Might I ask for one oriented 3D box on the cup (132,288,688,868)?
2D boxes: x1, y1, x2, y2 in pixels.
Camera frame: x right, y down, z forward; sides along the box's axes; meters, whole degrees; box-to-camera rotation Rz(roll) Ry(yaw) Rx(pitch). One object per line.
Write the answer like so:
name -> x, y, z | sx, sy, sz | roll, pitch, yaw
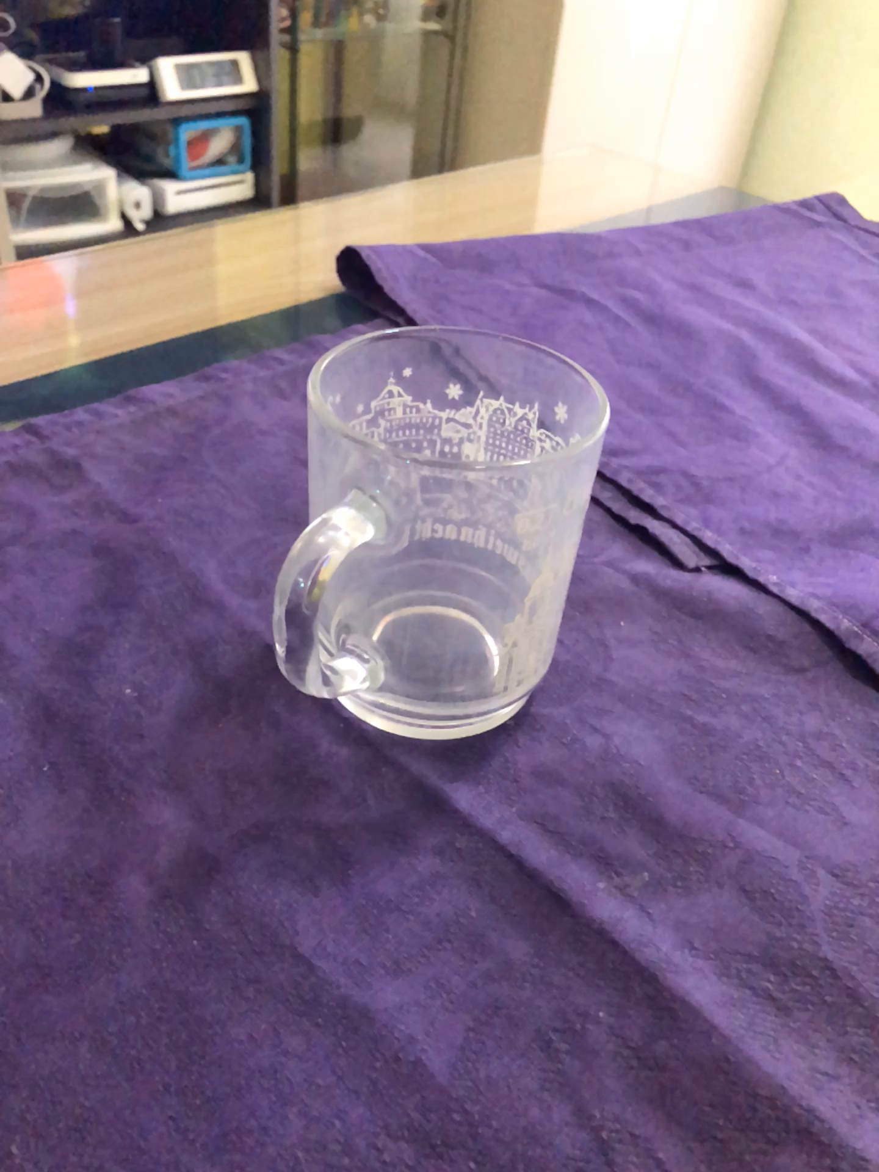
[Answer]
cup -> -0.004, -0.009, 0.231 | 0.070, 0.080, 0.100 | 27, 42, 27
